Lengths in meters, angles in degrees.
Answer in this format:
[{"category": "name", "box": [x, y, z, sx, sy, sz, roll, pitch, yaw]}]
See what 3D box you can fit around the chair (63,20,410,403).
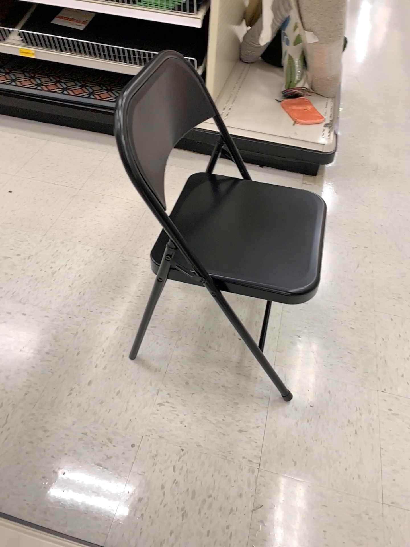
[{"category": "chair", "box": [0.078, -0.129, 1.052, 0.550, 0.717, 0.492, 12, 47, 7]}]
